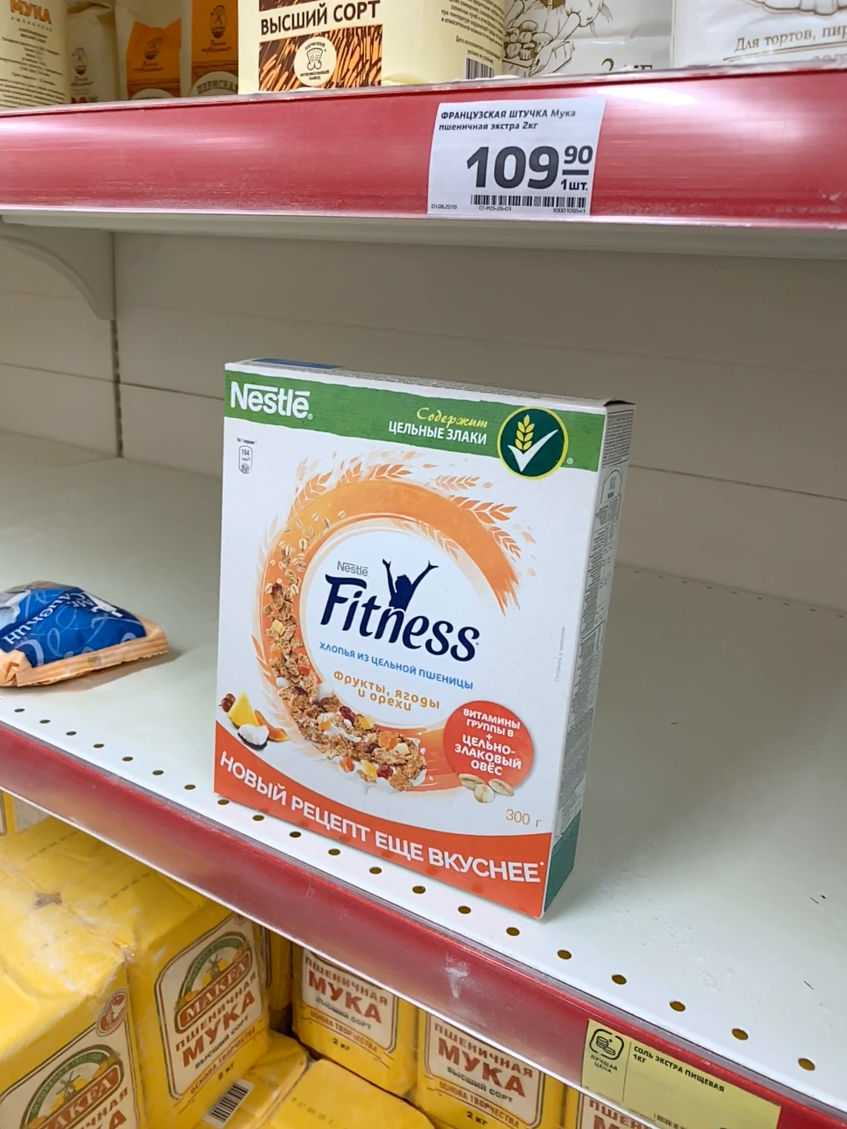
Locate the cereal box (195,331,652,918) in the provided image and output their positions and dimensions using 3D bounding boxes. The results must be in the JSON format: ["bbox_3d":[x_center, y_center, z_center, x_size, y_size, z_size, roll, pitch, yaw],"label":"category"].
[{"bbox_3d":[-0.012,0.017,0.434,0.200,0.239,0.060,12,14,26],"label":"cereal box"}]
